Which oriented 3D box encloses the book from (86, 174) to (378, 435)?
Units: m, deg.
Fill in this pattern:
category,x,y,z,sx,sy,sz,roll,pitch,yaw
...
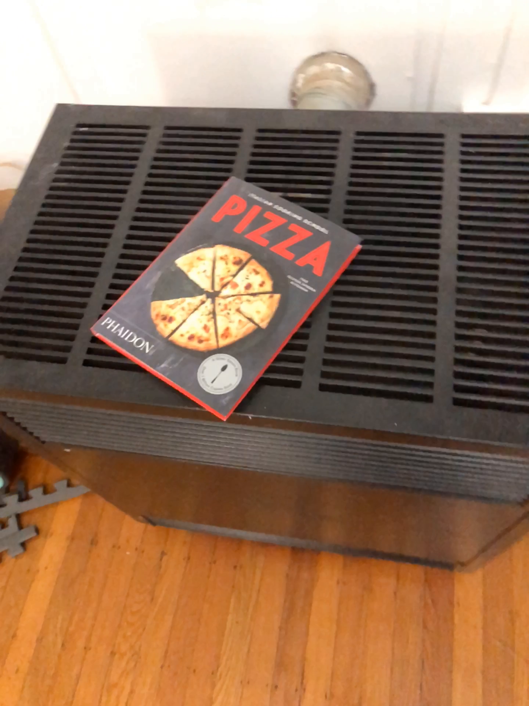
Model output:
category,x,y,z,sx,sy,sz,roll,pitch,yaw
book,-0.029,-0.061,0.567,0.180,0.020,0.230,31,69,22
